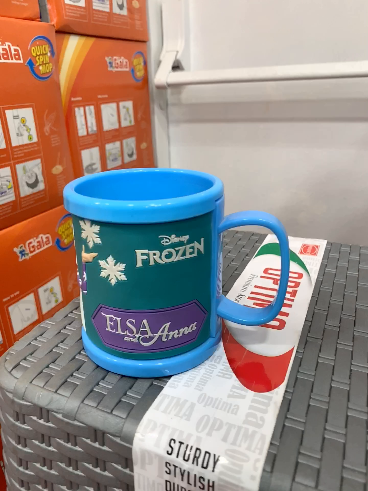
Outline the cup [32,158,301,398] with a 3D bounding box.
[{"bbox_3d":[-0.004,0.011,0.204,0.106,0.099,0.078,0,21,5],"label":"cup"}]
